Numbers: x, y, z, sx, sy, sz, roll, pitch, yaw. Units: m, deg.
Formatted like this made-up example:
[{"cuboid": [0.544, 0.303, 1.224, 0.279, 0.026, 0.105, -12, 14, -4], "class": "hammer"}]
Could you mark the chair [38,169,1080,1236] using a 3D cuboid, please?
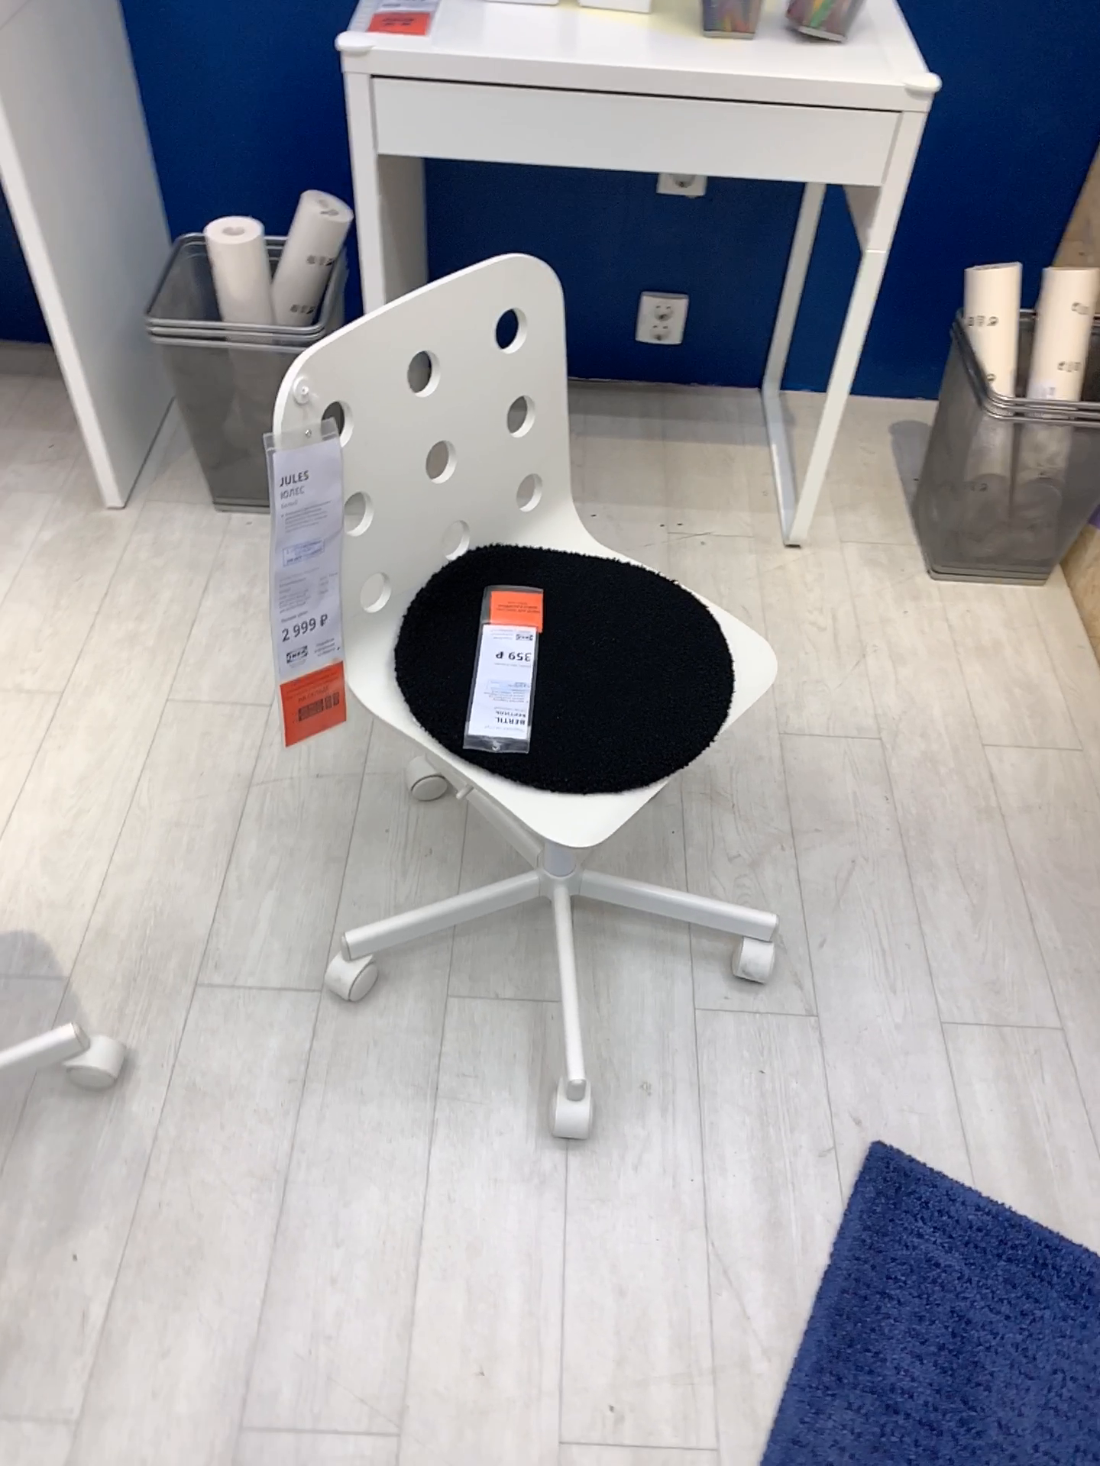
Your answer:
[{"cuboid": [0.012, -0.028, 1.180, 0.591, 0.737, 0.602, 33, 55, 22], "class": "chair"}]
